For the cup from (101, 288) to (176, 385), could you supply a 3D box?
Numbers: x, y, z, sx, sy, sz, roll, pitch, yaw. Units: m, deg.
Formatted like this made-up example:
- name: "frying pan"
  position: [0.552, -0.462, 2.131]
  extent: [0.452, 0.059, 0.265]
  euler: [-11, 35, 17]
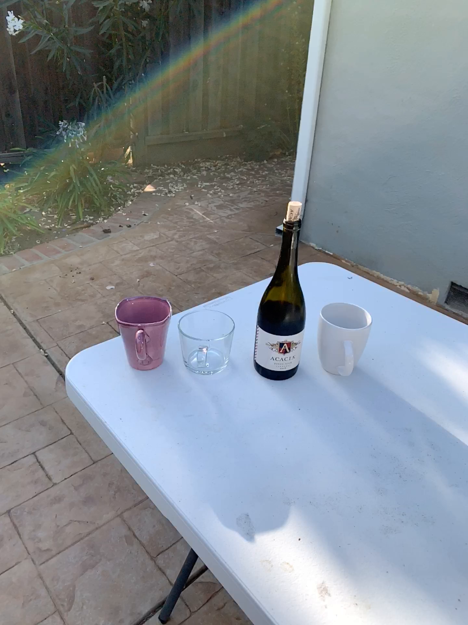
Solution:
- name: "cup"
  position: [-0.160, 0.039, 0.840]
  extent: [0.100, 0.109, 0.131]
  euler: [4, 31, 0]

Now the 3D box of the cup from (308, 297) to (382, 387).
- name: "cup"
  position: [0.186, 0.049, 0.833]
  extent: [0.090, 0.099, 0.121]
  euler: [4, 31, 0]

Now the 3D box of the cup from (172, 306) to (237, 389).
- name: "cup"
  position: [-0.049, 0.059, 0.852]
  extent: [0.100, 0.080, 0.131]
  euler: [4, 31, 0]
